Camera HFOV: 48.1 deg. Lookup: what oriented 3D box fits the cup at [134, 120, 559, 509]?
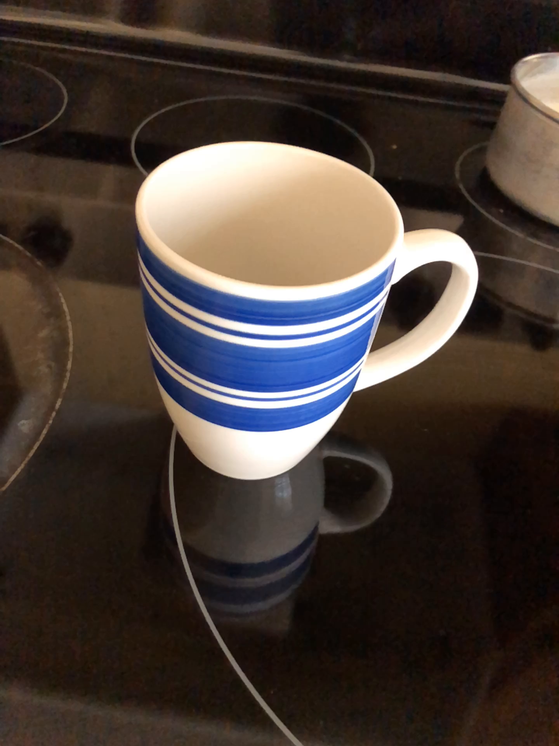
[{"bbox_3d":[0.019,-0.022,0.211,0.120,0.090,0.080,-7,48,-14],"label":"cup"}]
